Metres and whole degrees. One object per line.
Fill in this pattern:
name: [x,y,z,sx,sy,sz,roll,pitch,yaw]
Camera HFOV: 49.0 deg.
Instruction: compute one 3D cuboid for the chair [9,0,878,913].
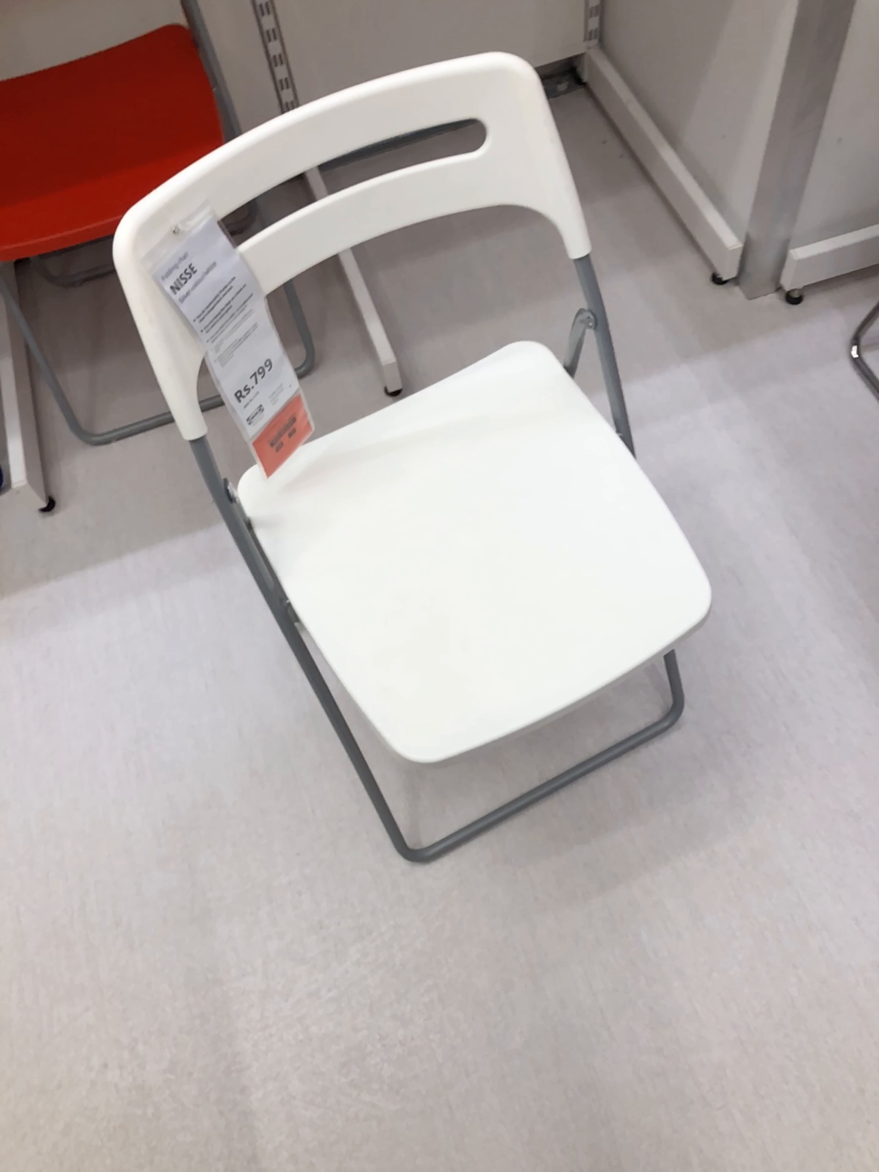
chair: [0.012,-0.085,1.025,0.500,0.667,0.542,-27,62,-8]
